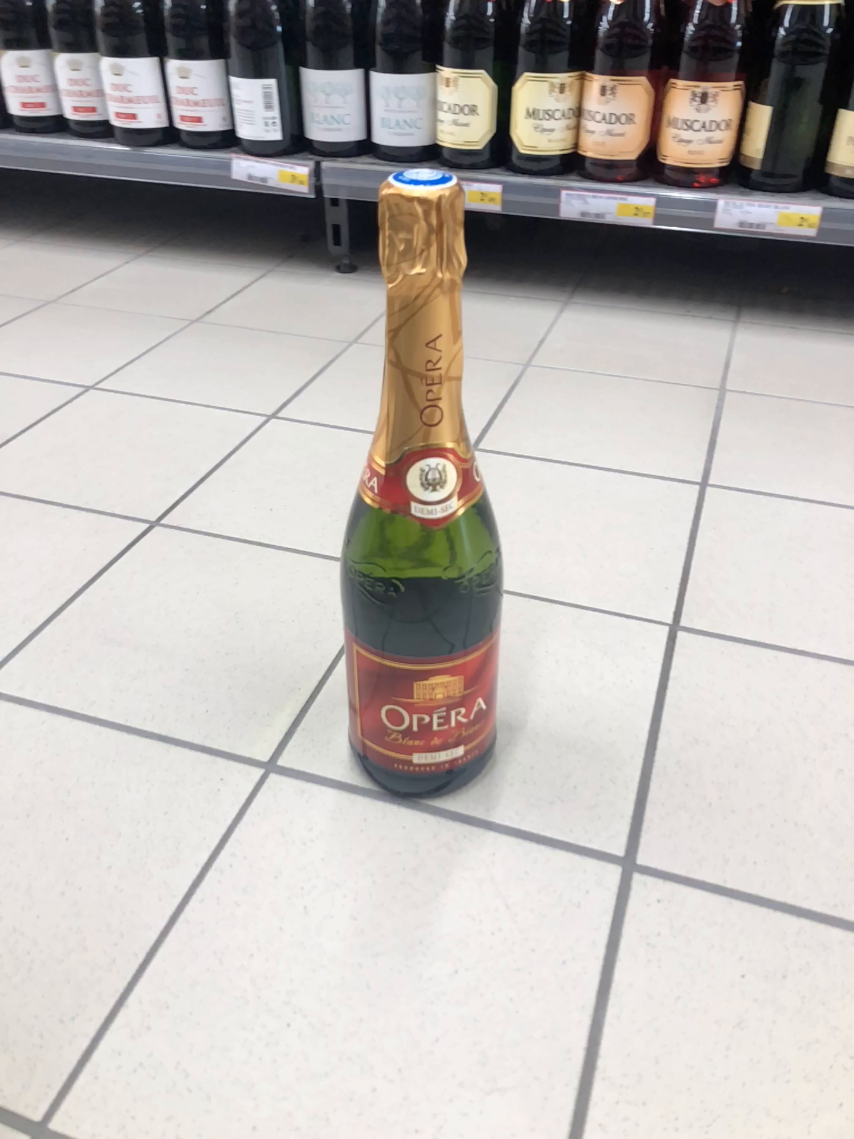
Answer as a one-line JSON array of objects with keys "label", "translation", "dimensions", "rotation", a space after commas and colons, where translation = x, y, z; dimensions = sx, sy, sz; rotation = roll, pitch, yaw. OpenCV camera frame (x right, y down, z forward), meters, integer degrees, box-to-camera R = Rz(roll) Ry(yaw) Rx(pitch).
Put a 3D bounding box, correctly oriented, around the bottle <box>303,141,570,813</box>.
[{"label": "bottle", "translation": [-0.001, -0.029, 0.435], "dimensions": [0.090, 0.298, 0.091], "rotation": [0, 33, 0]}]
